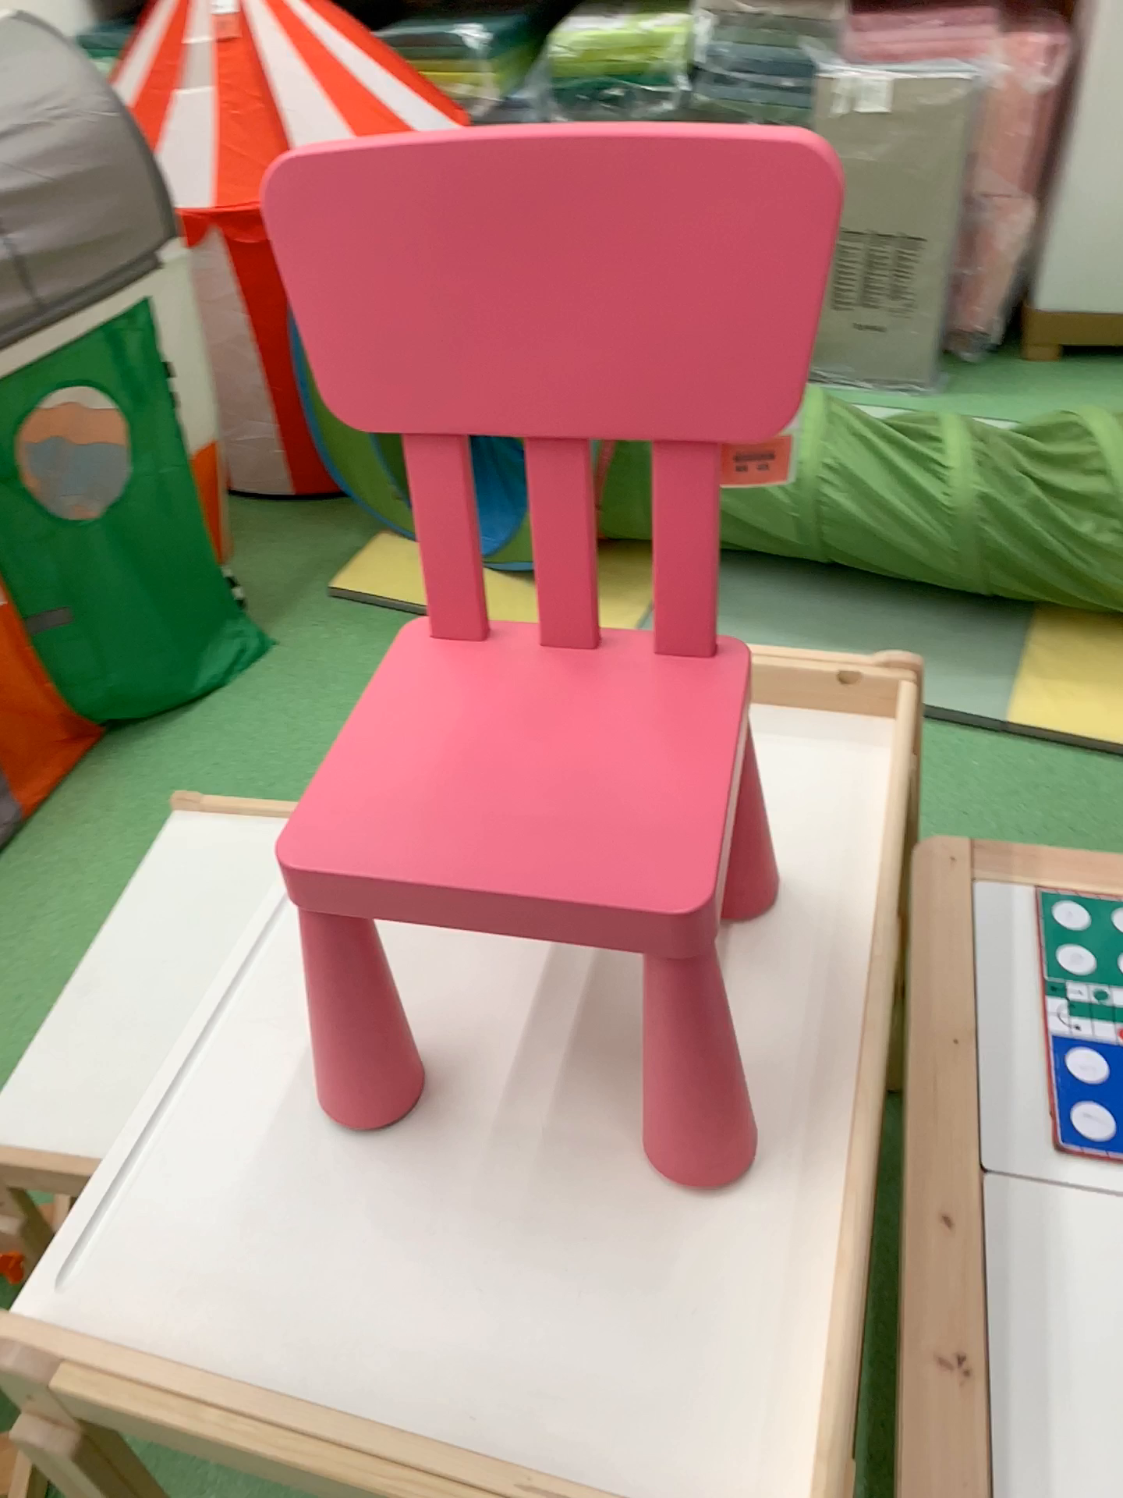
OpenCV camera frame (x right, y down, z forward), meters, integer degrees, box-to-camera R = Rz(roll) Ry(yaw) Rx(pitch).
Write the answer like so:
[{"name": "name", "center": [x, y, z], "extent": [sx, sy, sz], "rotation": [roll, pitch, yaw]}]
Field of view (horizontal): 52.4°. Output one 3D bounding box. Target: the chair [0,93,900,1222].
[{"name": "chair", "center": [-0.027, -0.054, 0.780], "extent": [0.420, 0.597, 0.401], "rotation": [6, 43, 15]}]
